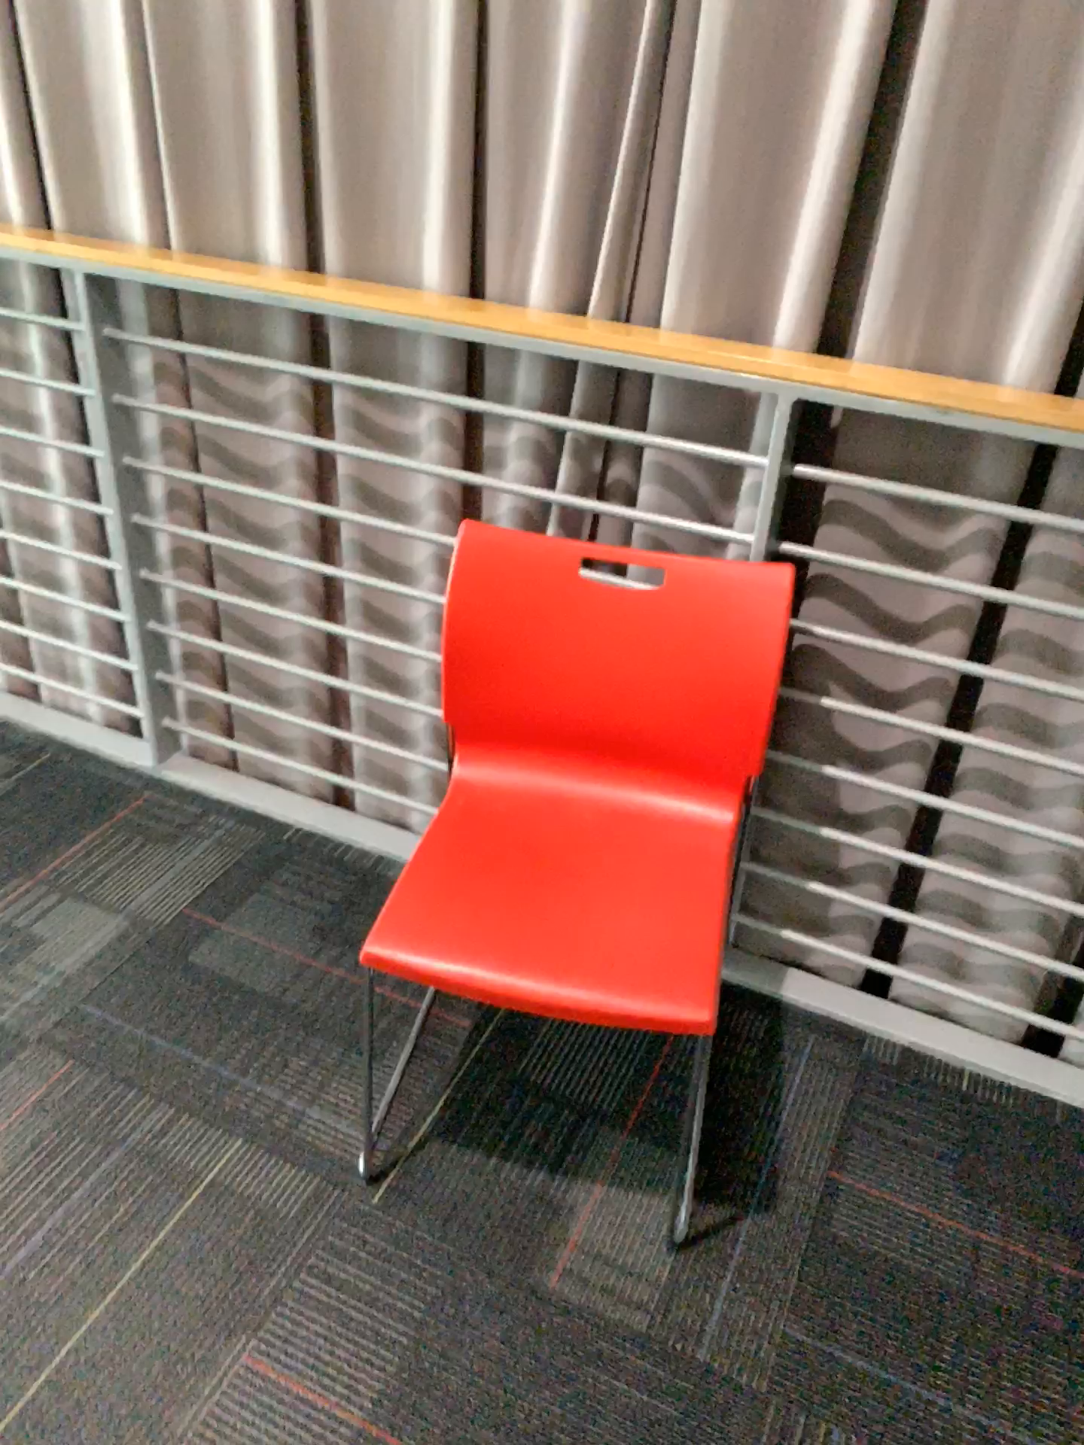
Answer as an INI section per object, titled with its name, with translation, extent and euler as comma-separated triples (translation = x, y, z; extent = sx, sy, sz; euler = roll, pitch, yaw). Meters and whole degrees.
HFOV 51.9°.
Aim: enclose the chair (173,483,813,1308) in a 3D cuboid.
[chair]
translation = -0.019, 0.223, 1.618
extent = 0.631, 0.855, 0.663
euler = 10, 36, 10
